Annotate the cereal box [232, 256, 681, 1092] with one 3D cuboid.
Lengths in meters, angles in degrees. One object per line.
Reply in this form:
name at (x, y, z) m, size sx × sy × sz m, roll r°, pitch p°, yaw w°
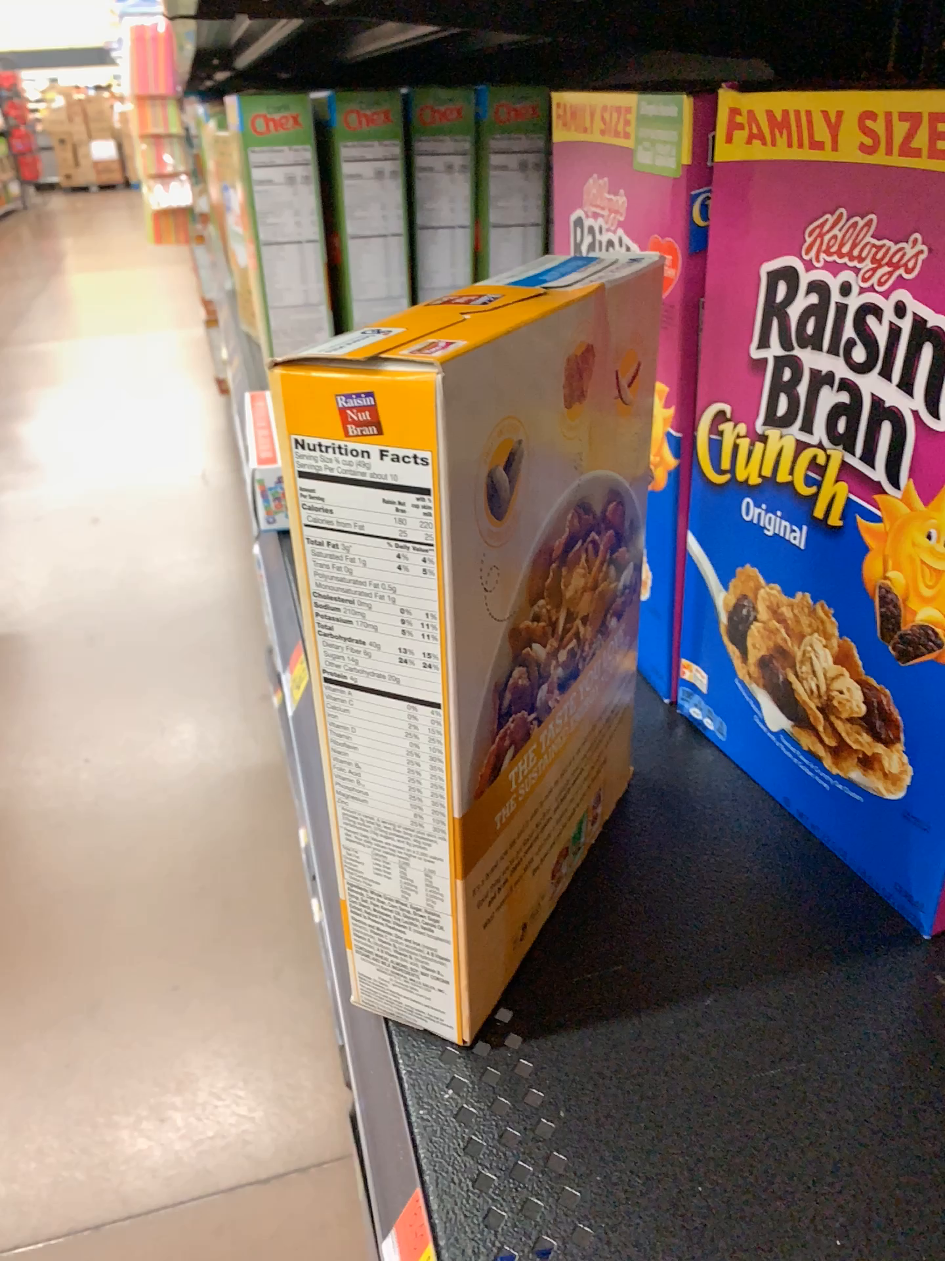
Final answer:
cereal box at (0.014, 0.006, 0.386) m, size 0.060 × 0.259 × 0.201 m, roll 13°, pitch 33°, yaw 25°
